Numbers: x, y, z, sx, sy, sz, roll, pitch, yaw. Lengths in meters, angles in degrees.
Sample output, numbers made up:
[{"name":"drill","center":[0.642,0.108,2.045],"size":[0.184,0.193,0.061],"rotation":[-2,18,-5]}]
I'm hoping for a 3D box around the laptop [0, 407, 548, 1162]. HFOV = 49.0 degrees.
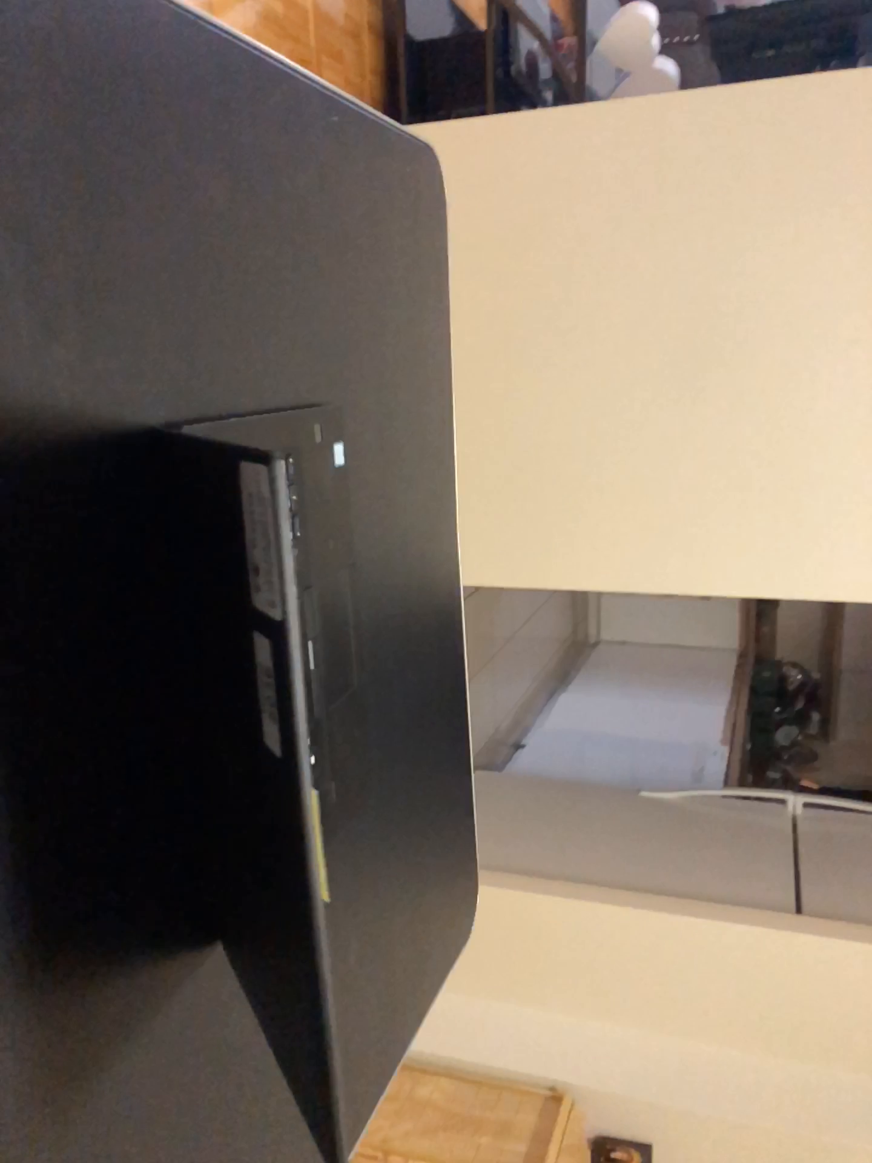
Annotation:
[{"name":"laptop","center":[-0.050,0.068,0.586],"size":[0.369,0.141,0.319],"rotation":[-34,123,-65]}]
